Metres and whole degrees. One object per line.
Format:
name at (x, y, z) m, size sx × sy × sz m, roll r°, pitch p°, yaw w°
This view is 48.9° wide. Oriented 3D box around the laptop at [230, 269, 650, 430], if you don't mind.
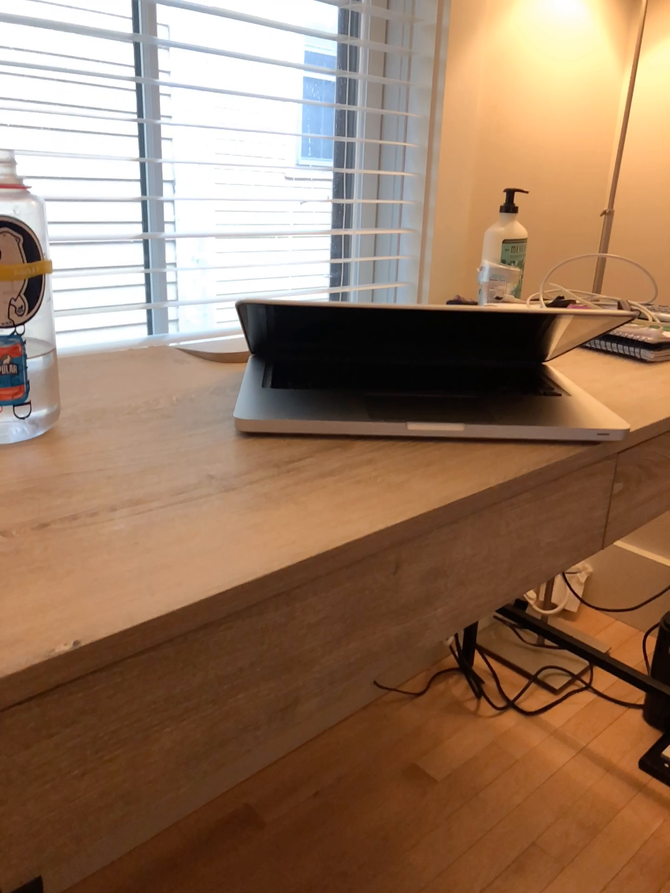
laptop at (0.070, -0.091, 0.632) m, size 0.300 × 0.082 × 0.210 m, roll 1°, pitch 21°, yaw -3°
